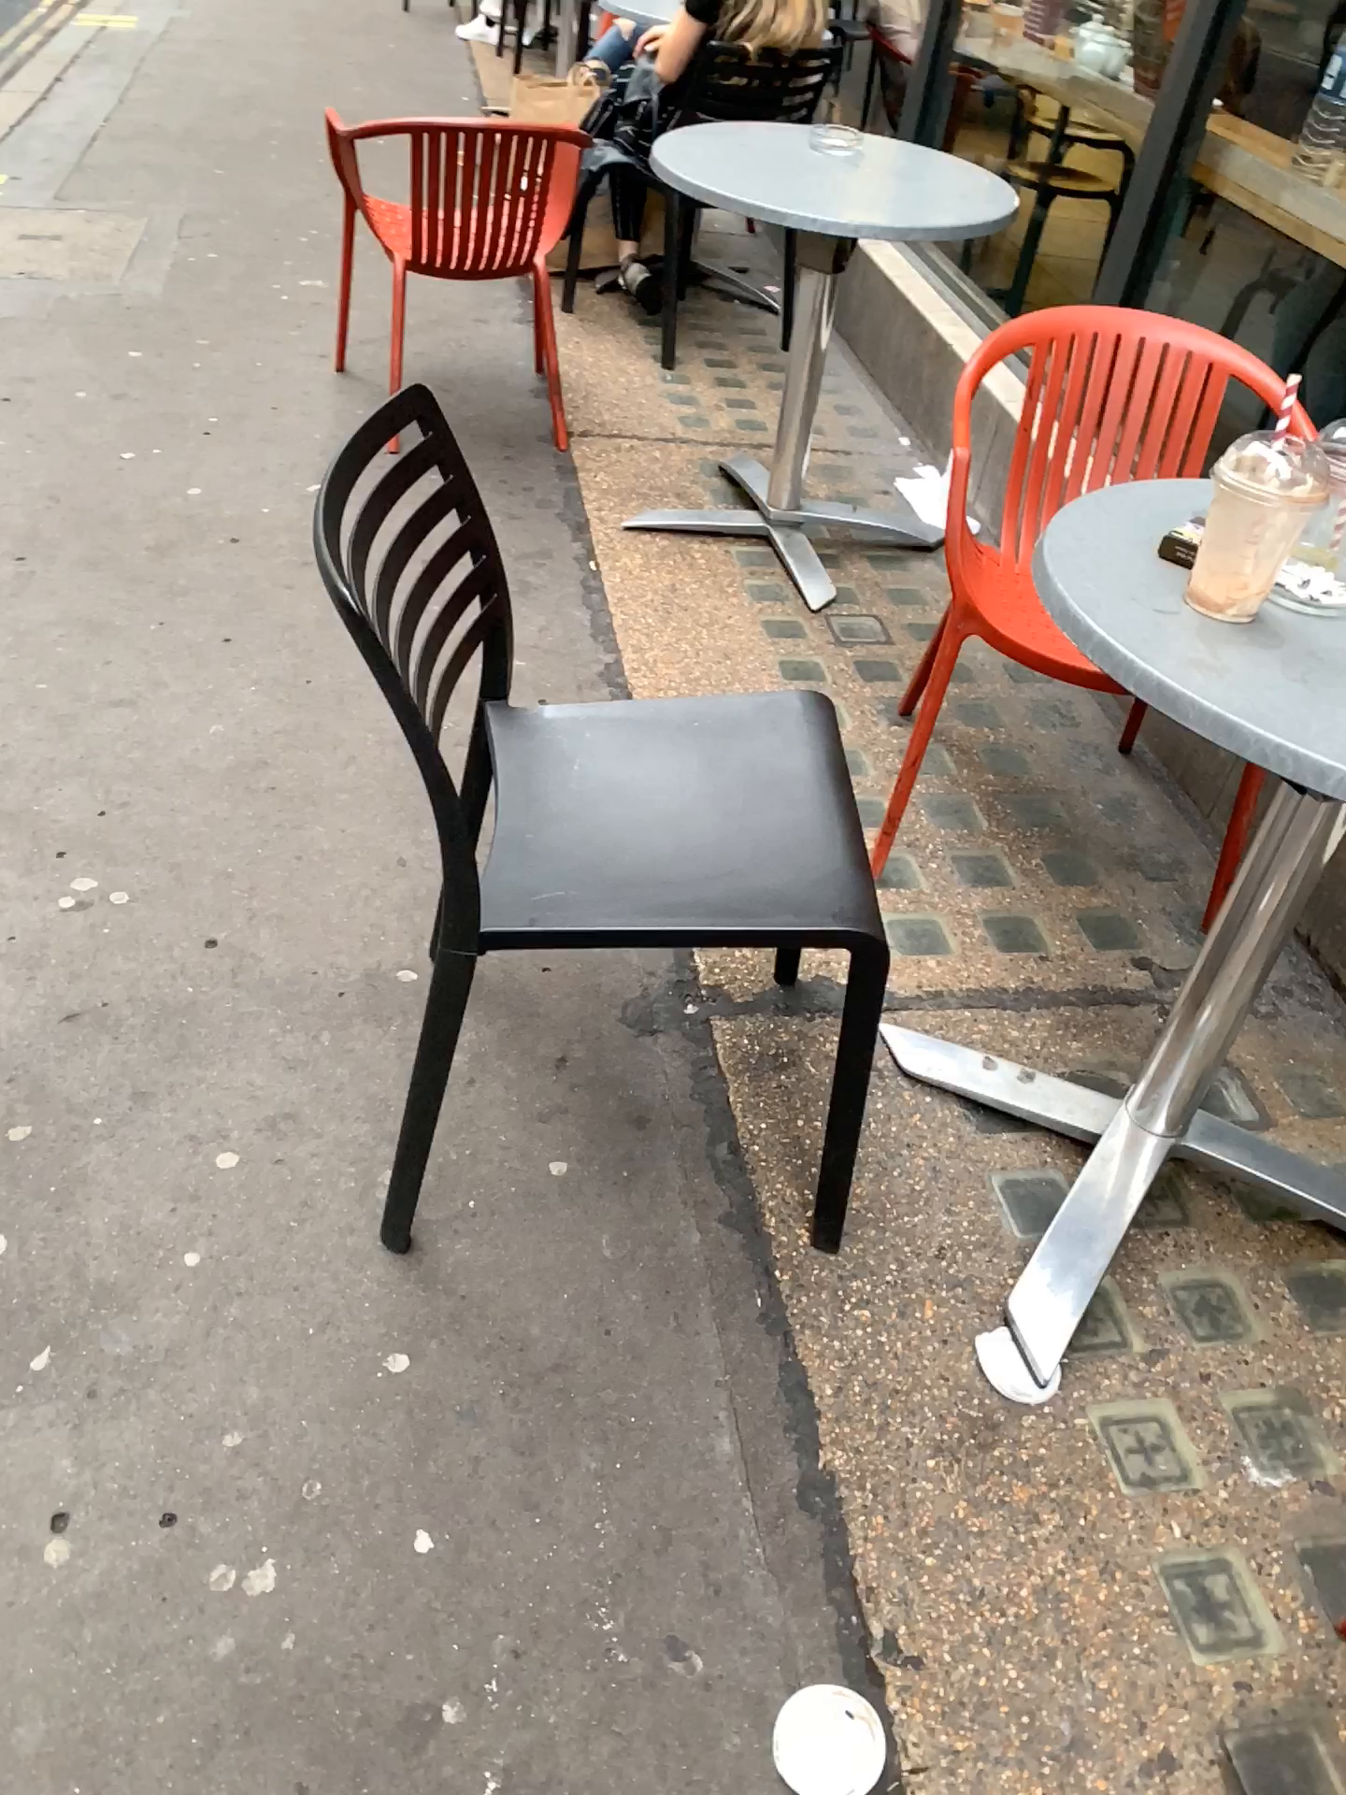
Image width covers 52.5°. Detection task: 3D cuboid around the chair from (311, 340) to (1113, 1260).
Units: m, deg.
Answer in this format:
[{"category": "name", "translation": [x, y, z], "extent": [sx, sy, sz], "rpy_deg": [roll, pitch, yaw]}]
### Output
[{"category": "chair", "translation": [-0.029, -0.082, 1.453], "extent": [0.600, 0.753, 0.556], "rpy_deg": [4, 39, -8]}]

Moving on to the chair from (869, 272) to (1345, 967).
[{"category": "chair", "translation": [0.671, -0.428, 2.080], "extent": [0.570, 0.743, 0.646], "rpy_deg": [9, 39, -1]}]

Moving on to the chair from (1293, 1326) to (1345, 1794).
[{"category": "chair", "translation": [0.918, 0.853, 0.671], "extent": [0.703, 0.772, 0.643], "rpy_deg": [34, 45, 27]}]
